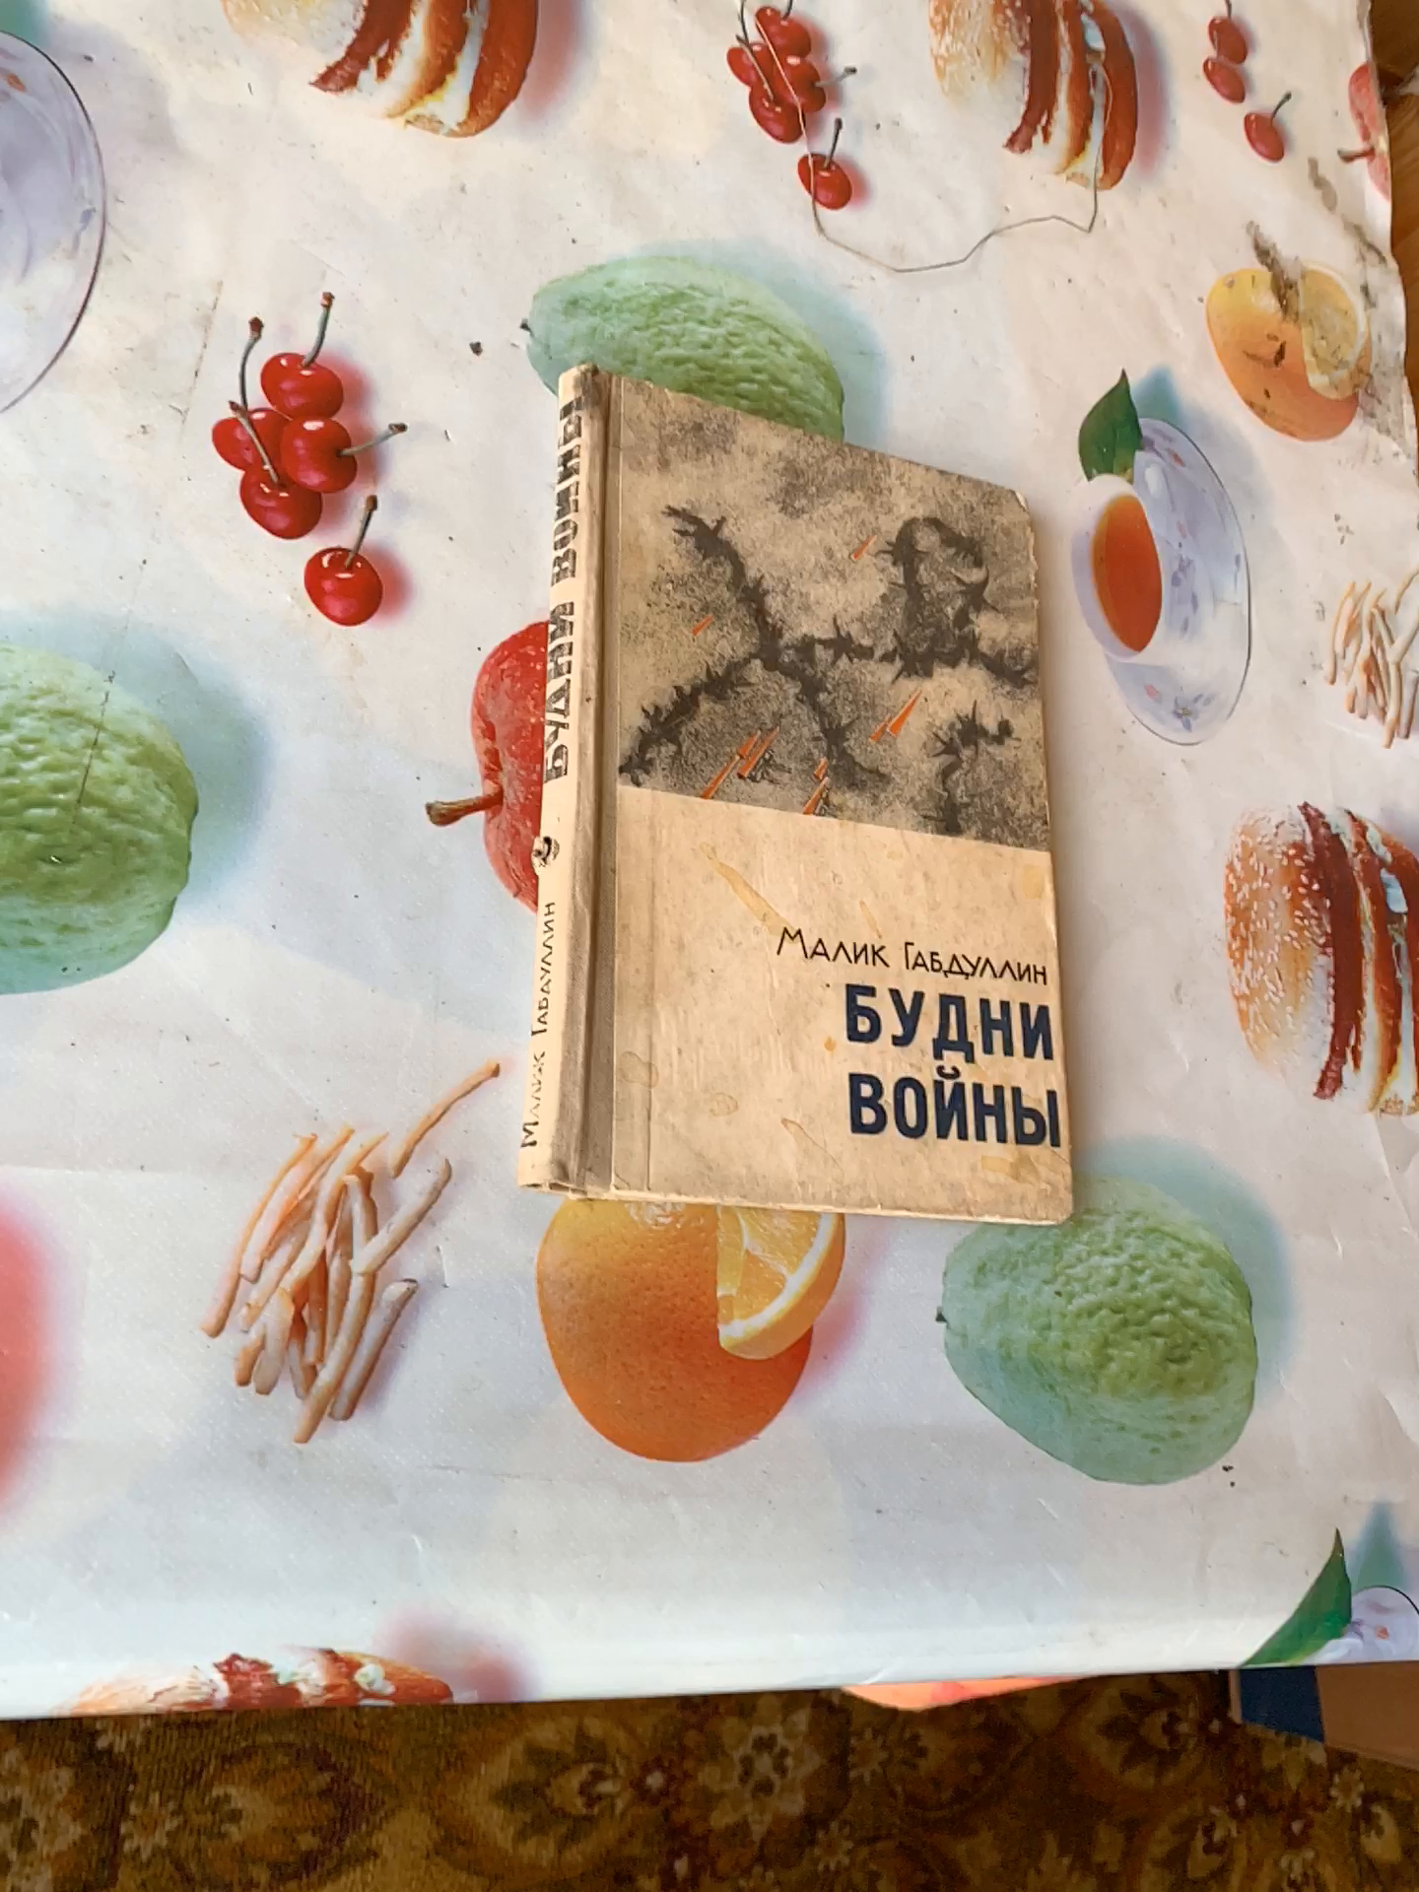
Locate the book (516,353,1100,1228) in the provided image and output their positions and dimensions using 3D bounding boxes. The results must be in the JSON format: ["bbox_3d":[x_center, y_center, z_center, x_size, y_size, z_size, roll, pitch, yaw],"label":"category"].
[{"bbox_3d":[0.026,-0.036,0.352,0.136,0.018,0.196,8,71,-24],"label":"book"}]
